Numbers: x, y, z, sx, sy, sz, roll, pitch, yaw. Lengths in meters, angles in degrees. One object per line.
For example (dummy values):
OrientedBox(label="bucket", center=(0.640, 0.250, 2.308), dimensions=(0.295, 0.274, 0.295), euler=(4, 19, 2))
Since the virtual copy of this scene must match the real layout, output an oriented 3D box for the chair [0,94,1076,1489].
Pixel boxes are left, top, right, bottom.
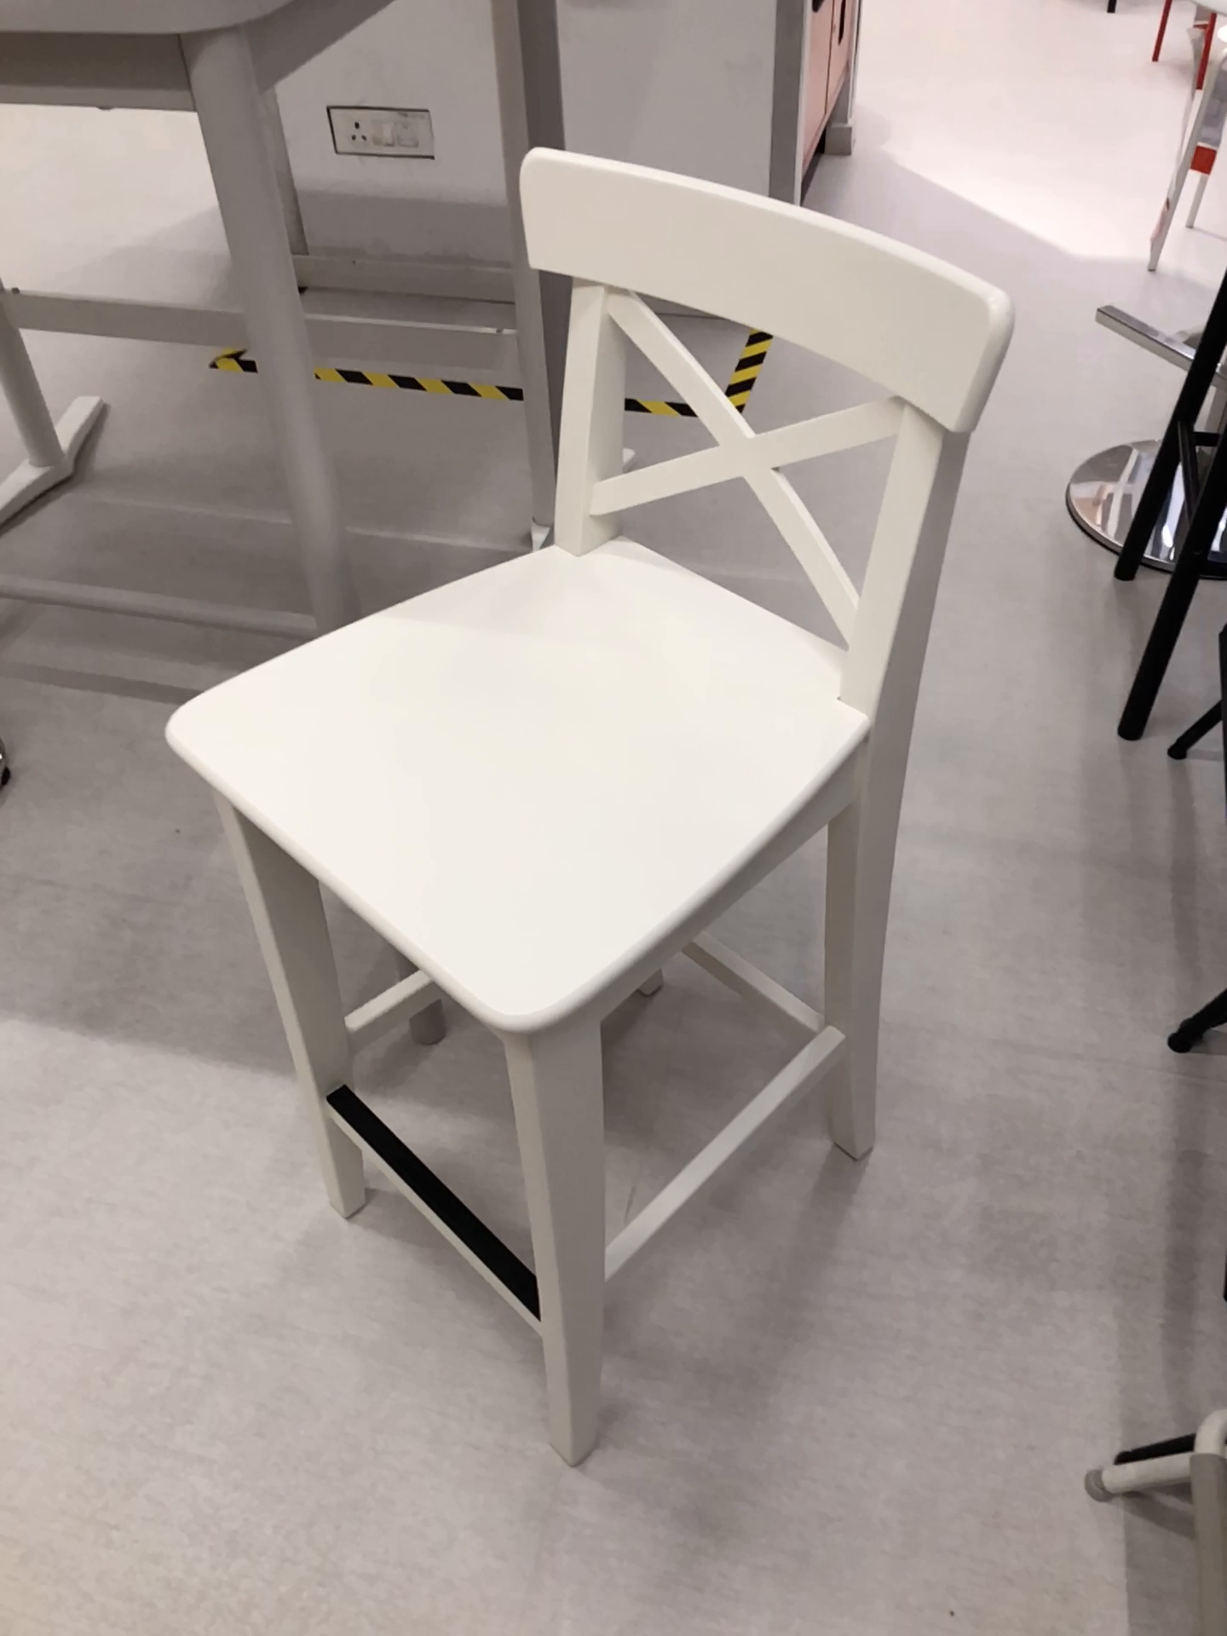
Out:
OrientedBox(label="chair", center=(-0.045, 0.019, 0.981), dimensions=(0.421, 0.834, 0.422), euler=(-35, 52, -29))
